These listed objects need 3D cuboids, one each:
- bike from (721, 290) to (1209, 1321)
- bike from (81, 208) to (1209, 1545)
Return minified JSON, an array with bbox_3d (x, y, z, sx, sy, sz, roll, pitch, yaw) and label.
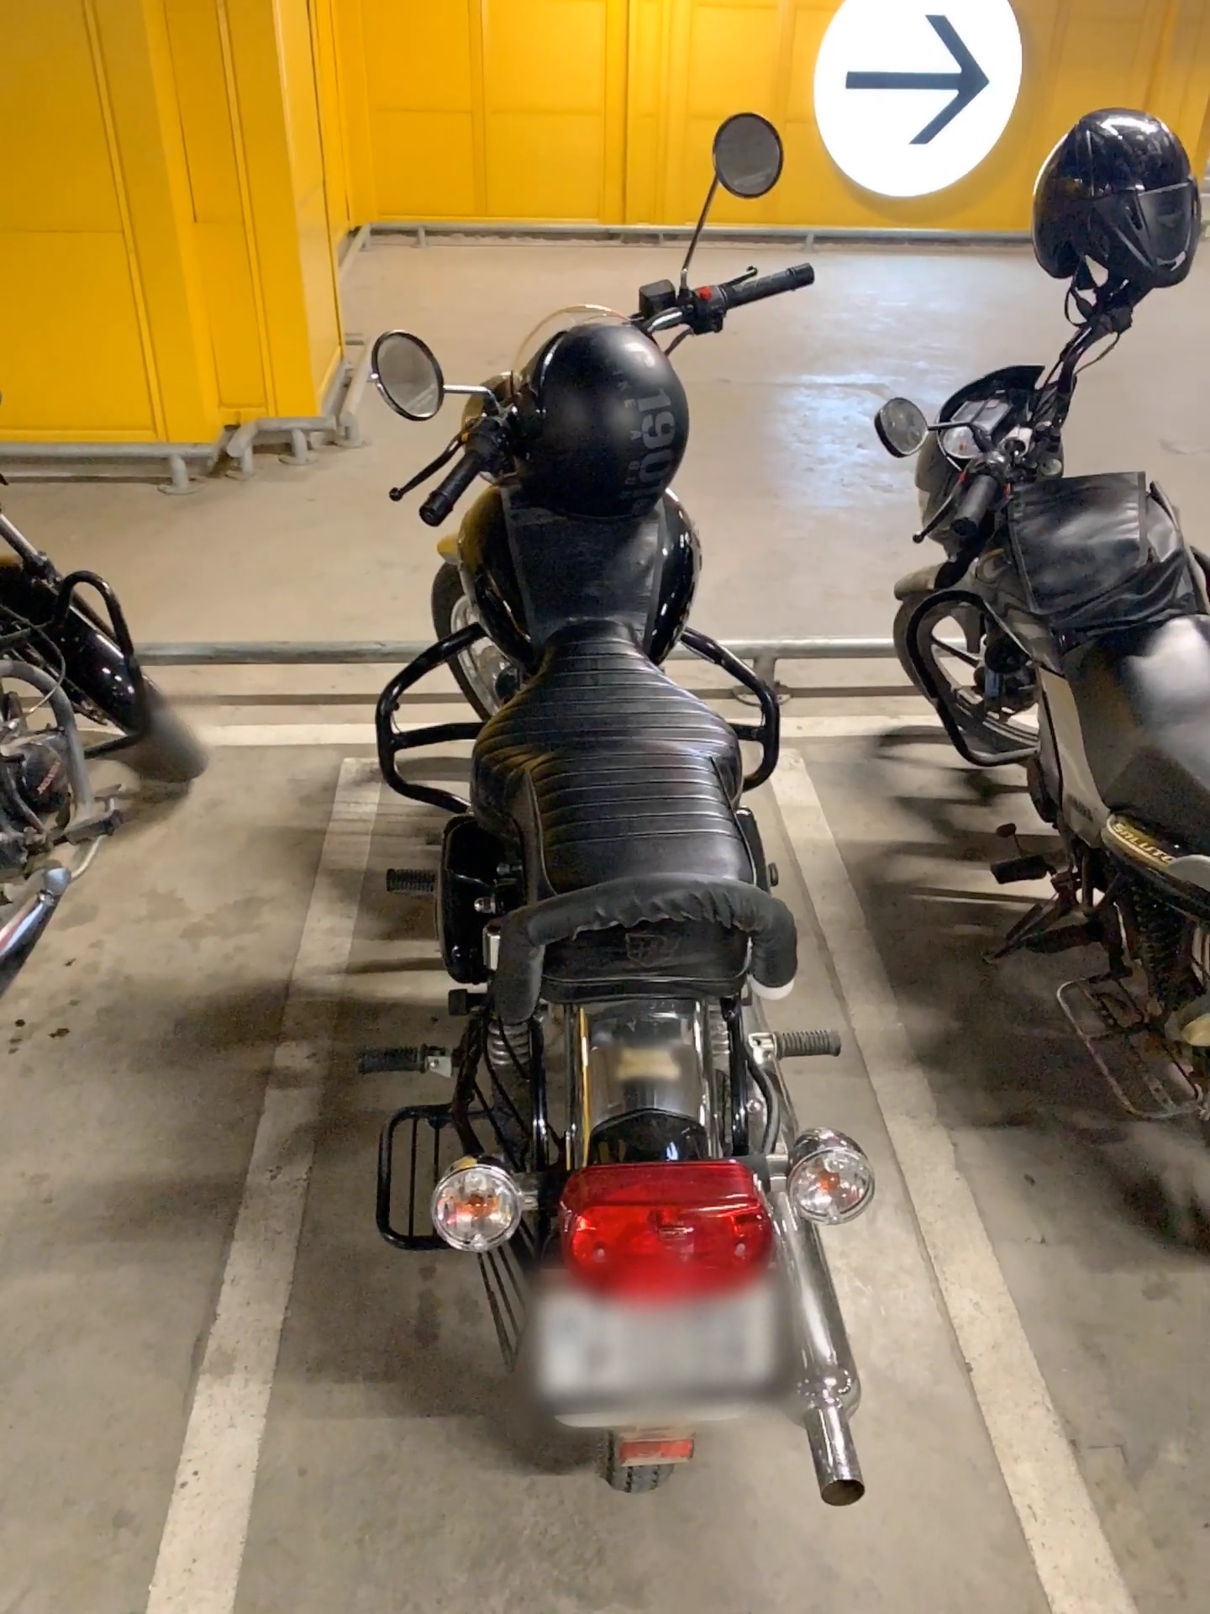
[{"bbox_3d":[0.693,-0.221,2.016,0.598,0.925,1.727,-3,31,-7],"label":"bike"},{"bbox_3d":[-0.151,-0.156,1.796,0.763,1.050,1.833,-5,33,-10],"label":"bike"}]
